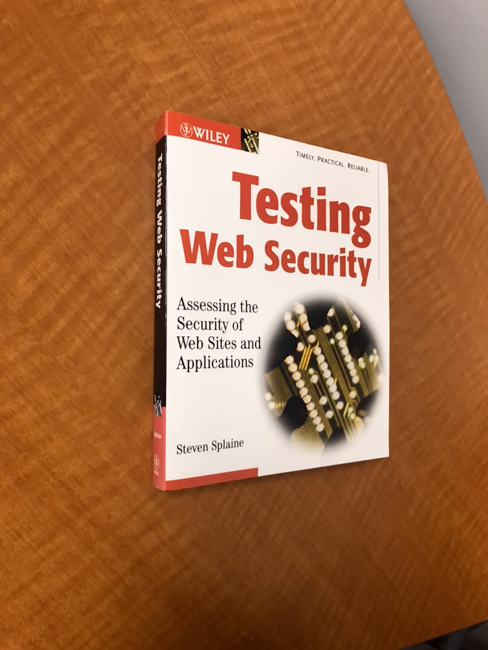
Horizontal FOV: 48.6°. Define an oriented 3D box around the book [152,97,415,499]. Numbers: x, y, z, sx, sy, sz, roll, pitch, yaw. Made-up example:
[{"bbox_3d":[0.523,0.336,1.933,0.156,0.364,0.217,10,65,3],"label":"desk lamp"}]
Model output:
[{"bbox_3d":[0.037,-0.015,0.374,0.201,0.030,0.230,1,87,-32],"label":"book"}]
